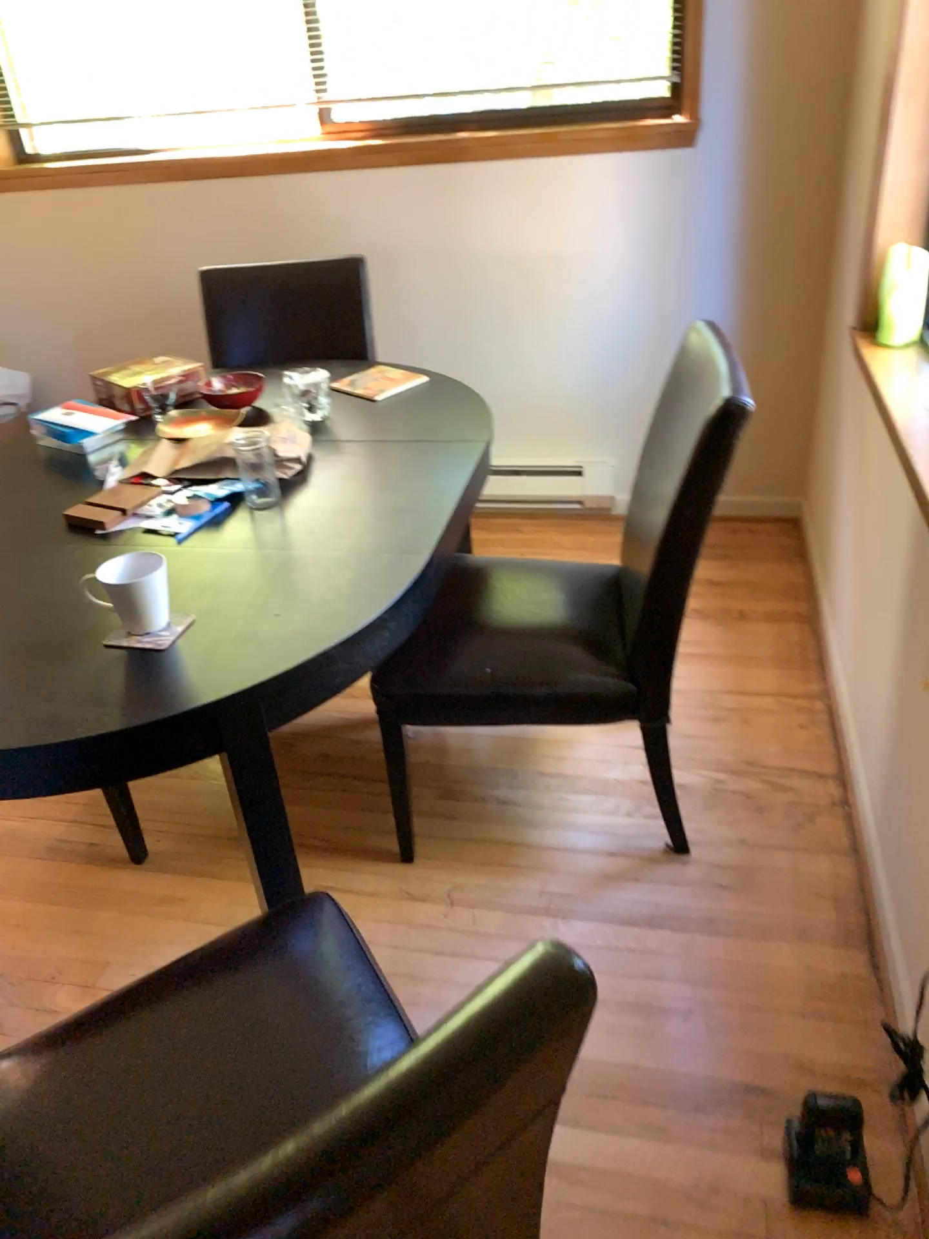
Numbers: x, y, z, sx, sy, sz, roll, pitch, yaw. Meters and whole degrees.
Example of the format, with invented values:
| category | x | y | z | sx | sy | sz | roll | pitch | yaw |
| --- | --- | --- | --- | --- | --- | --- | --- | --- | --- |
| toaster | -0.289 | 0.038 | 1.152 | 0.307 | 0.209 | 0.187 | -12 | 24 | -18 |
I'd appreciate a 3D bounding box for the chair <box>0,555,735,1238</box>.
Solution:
| category | x | y | z | sx | sy | sz | roll | pitch | yaw |
| --- | --- | --- | --- | --- | --- | --- | --- | --- | --- |
| chair | -0.220 | 0.626 | 0.984 | 0.620 | 1.083 | 0.654 | -23 | 35 | -26 |
